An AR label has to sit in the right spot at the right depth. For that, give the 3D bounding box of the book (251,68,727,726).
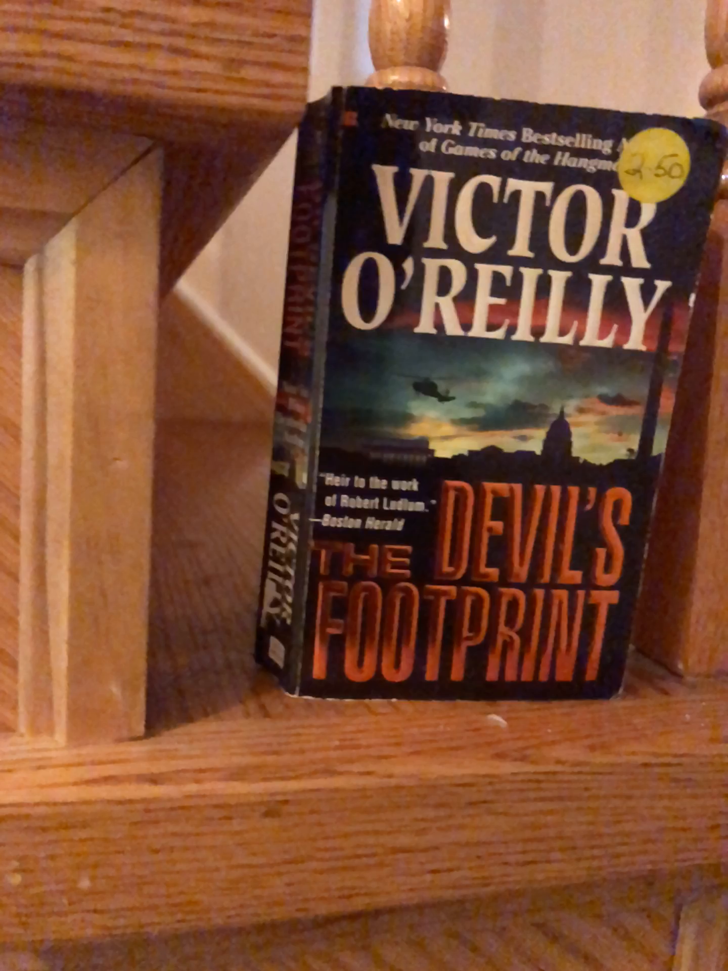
[{"bbox_3d":[0.031,-0.020,0.243,0.120,0.170,0.050,2,11,-6],"label":"book"}]
